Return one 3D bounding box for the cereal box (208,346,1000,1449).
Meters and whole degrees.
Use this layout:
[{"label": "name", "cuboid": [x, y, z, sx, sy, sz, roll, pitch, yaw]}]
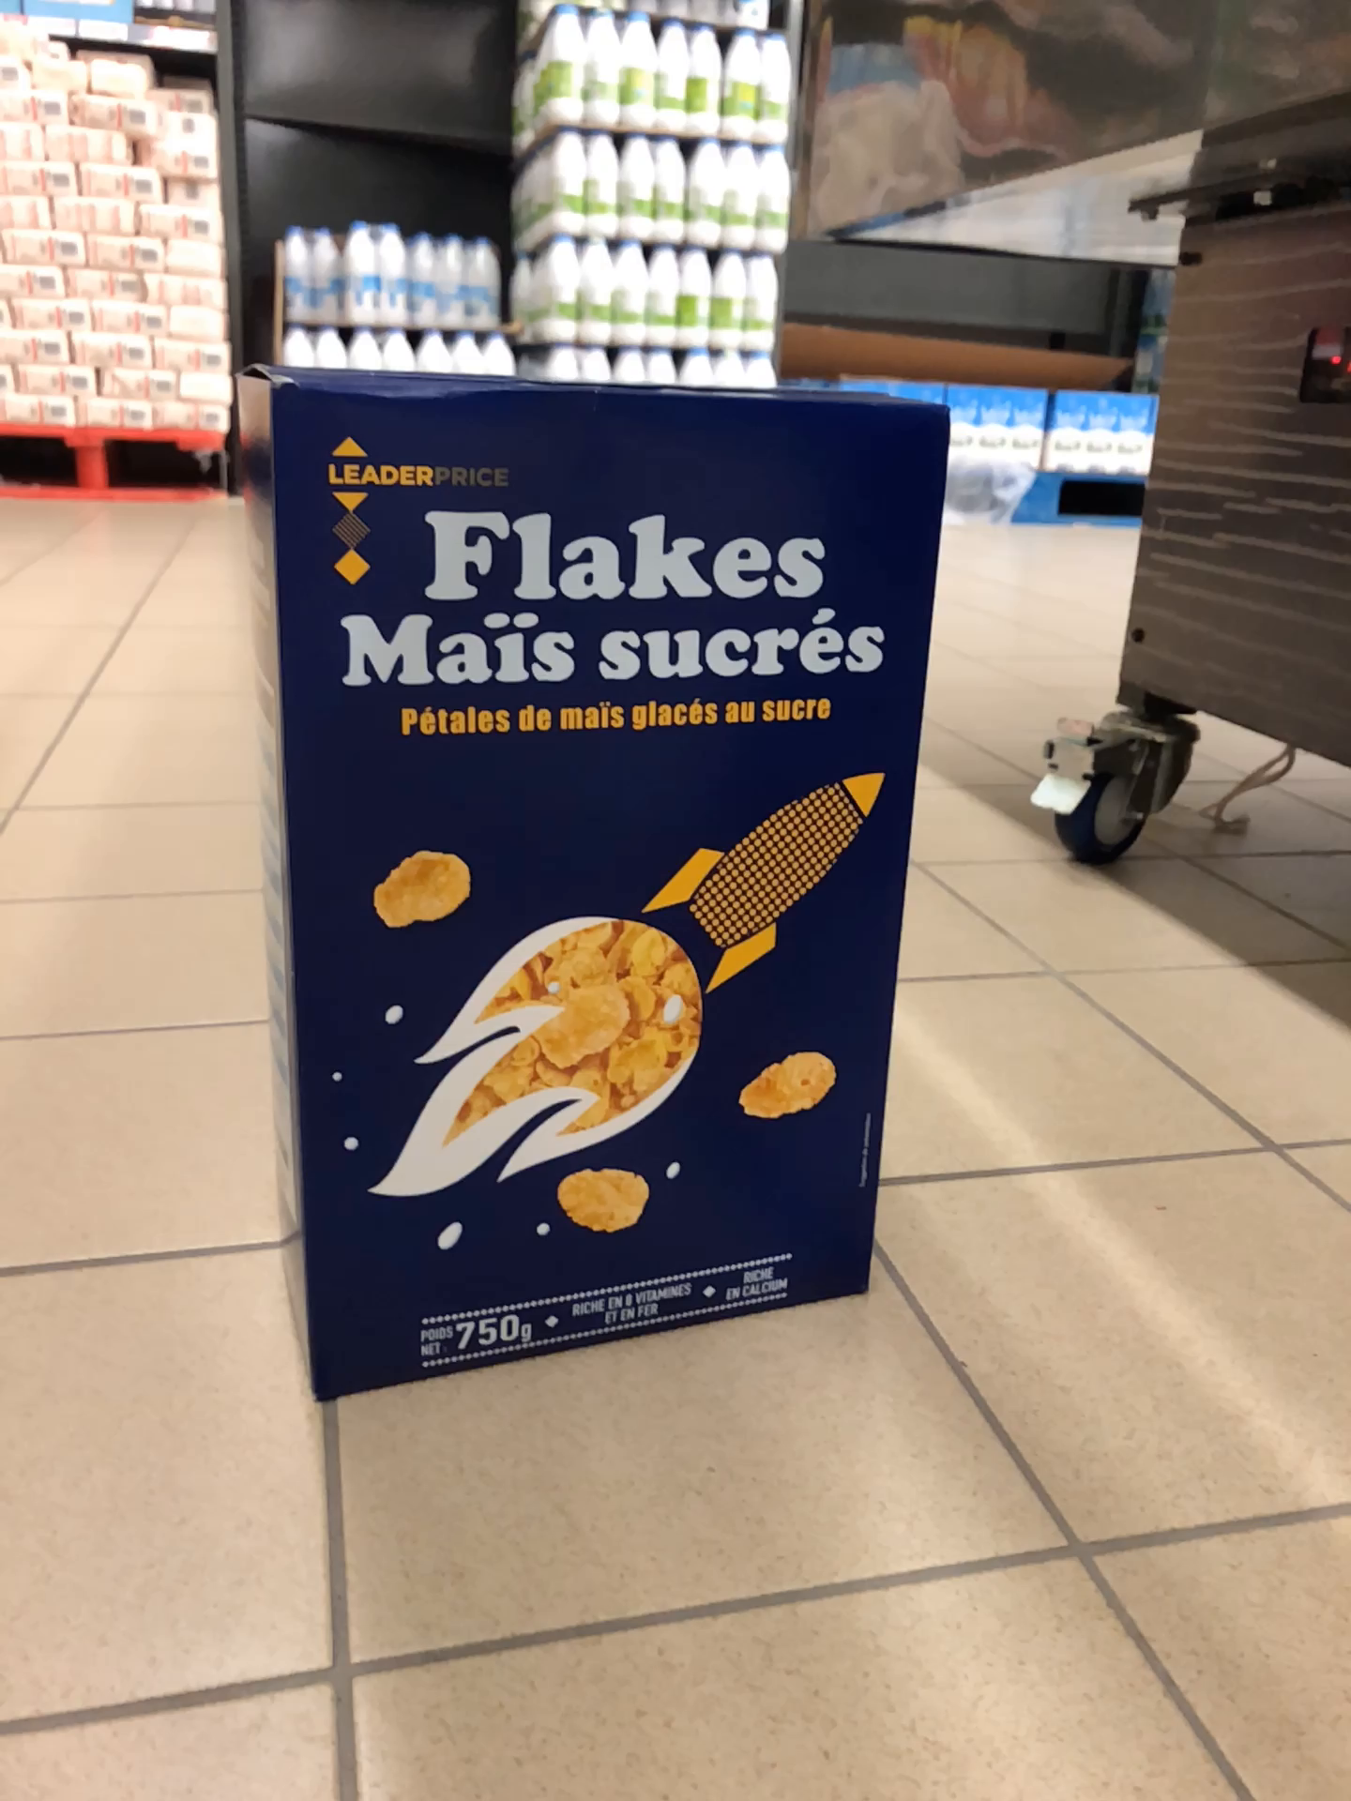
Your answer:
[{"label": "cereal box", "cuboid": [-0.031, -0.005, 0.476, 0.210, 0.309, 0.100, -3, 18, -18]}]
